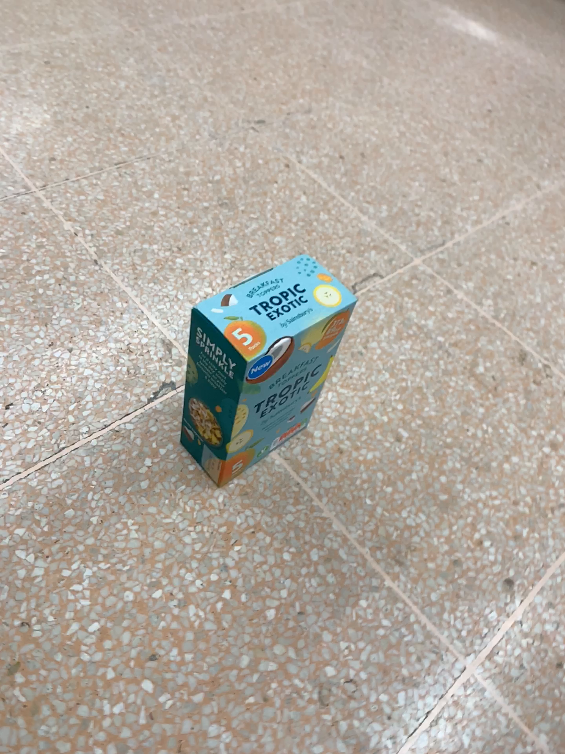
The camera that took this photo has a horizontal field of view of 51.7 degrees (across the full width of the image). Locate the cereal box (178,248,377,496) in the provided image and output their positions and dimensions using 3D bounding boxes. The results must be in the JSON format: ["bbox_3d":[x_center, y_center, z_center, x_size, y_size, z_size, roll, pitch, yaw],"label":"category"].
[{"bbox_3d":[-0.011,0.000,0.425,0.111,0.149,0.060,-31,64,-31],"label":"cereal box"}]
